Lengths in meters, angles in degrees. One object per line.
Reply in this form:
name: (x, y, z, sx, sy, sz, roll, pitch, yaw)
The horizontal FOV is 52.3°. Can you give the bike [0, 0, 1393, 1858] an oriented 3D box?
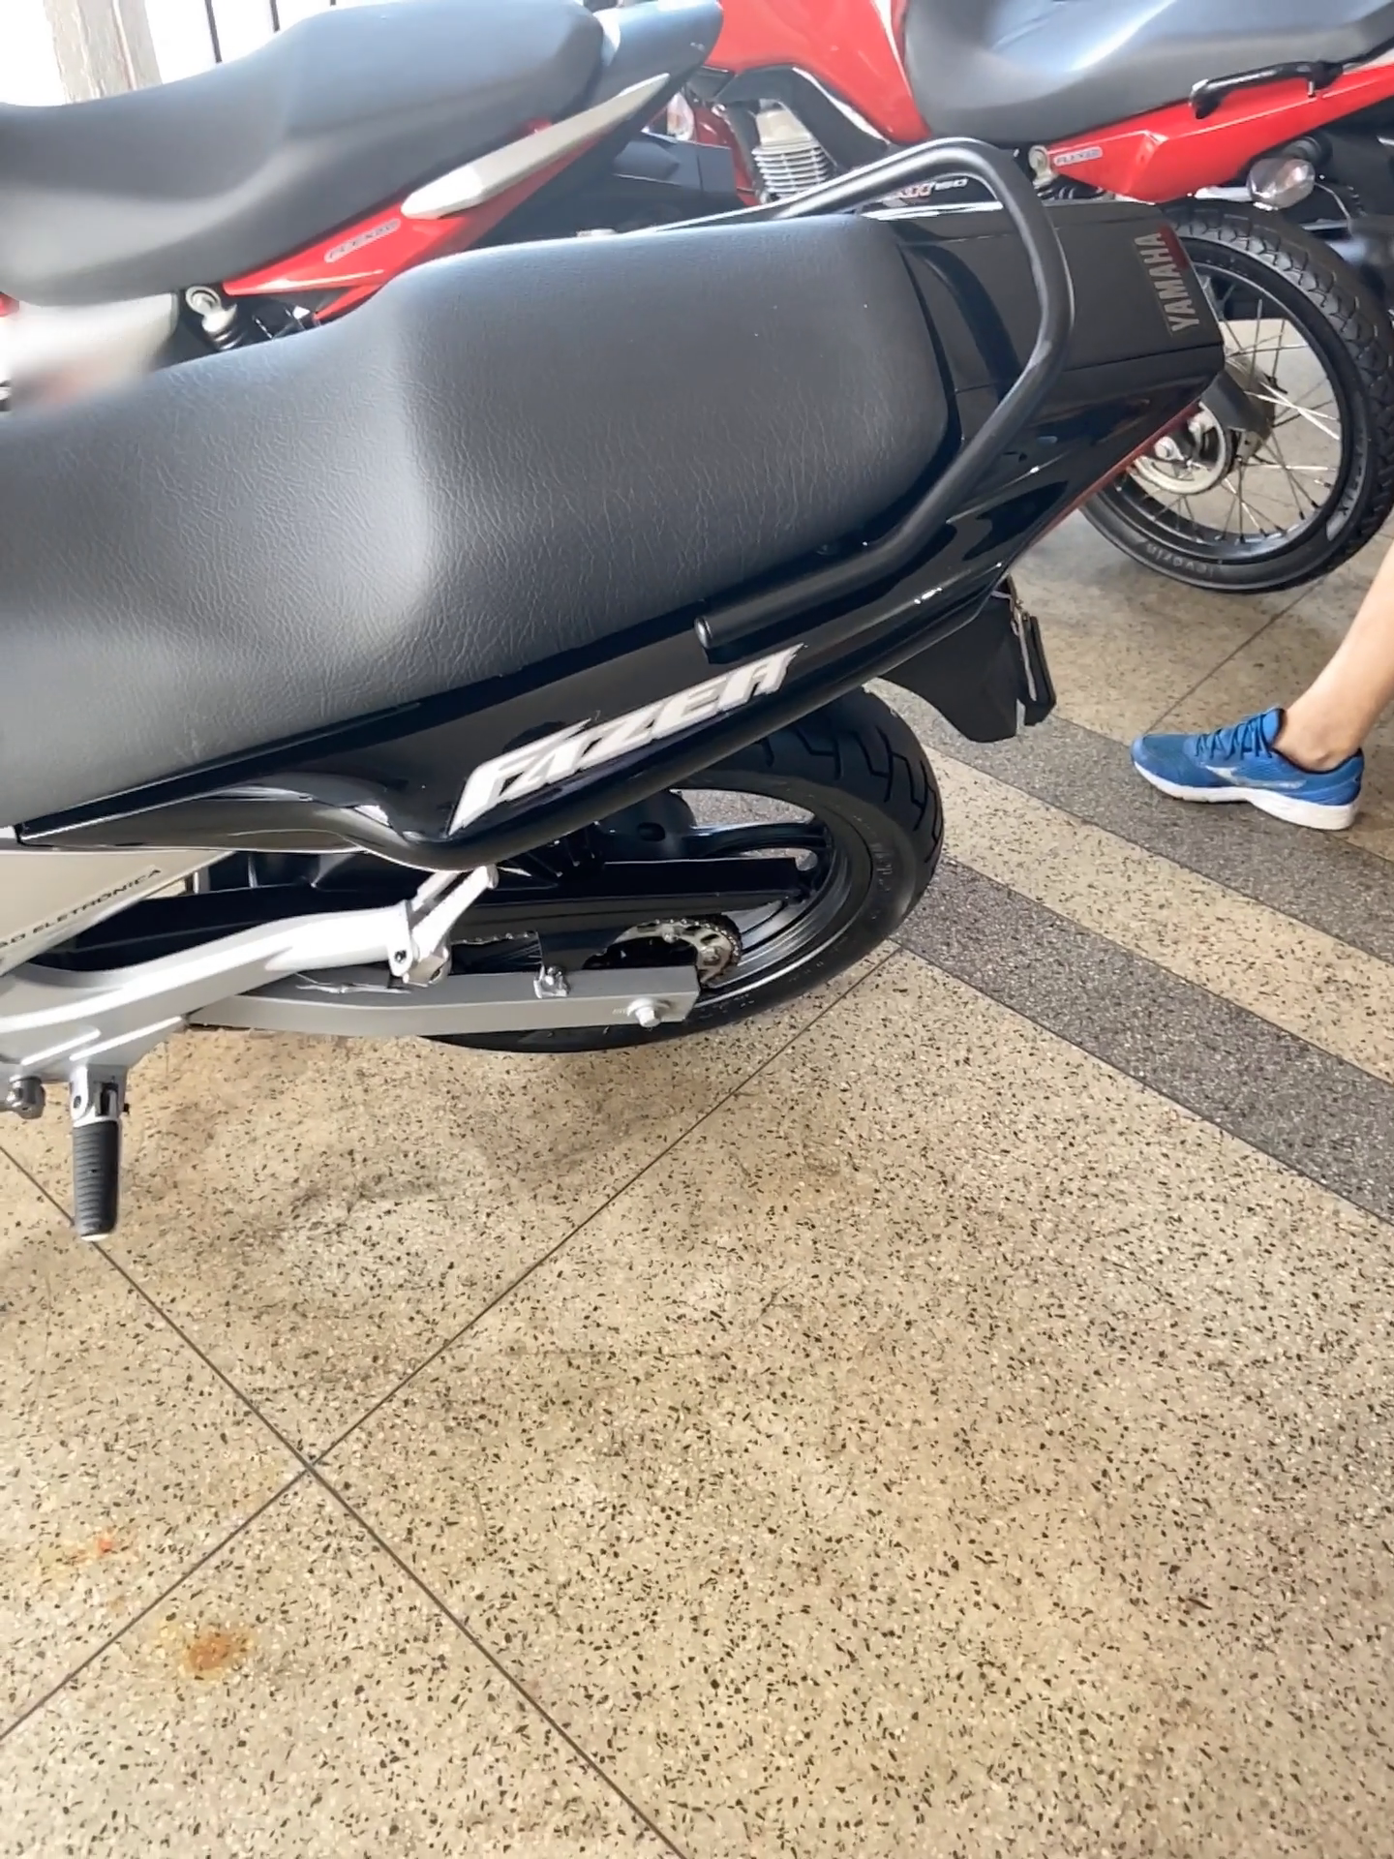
bike: (-0.640, -0.095, 1.075, 1.880, 1.511, 0.847, -15, 44, -19)
